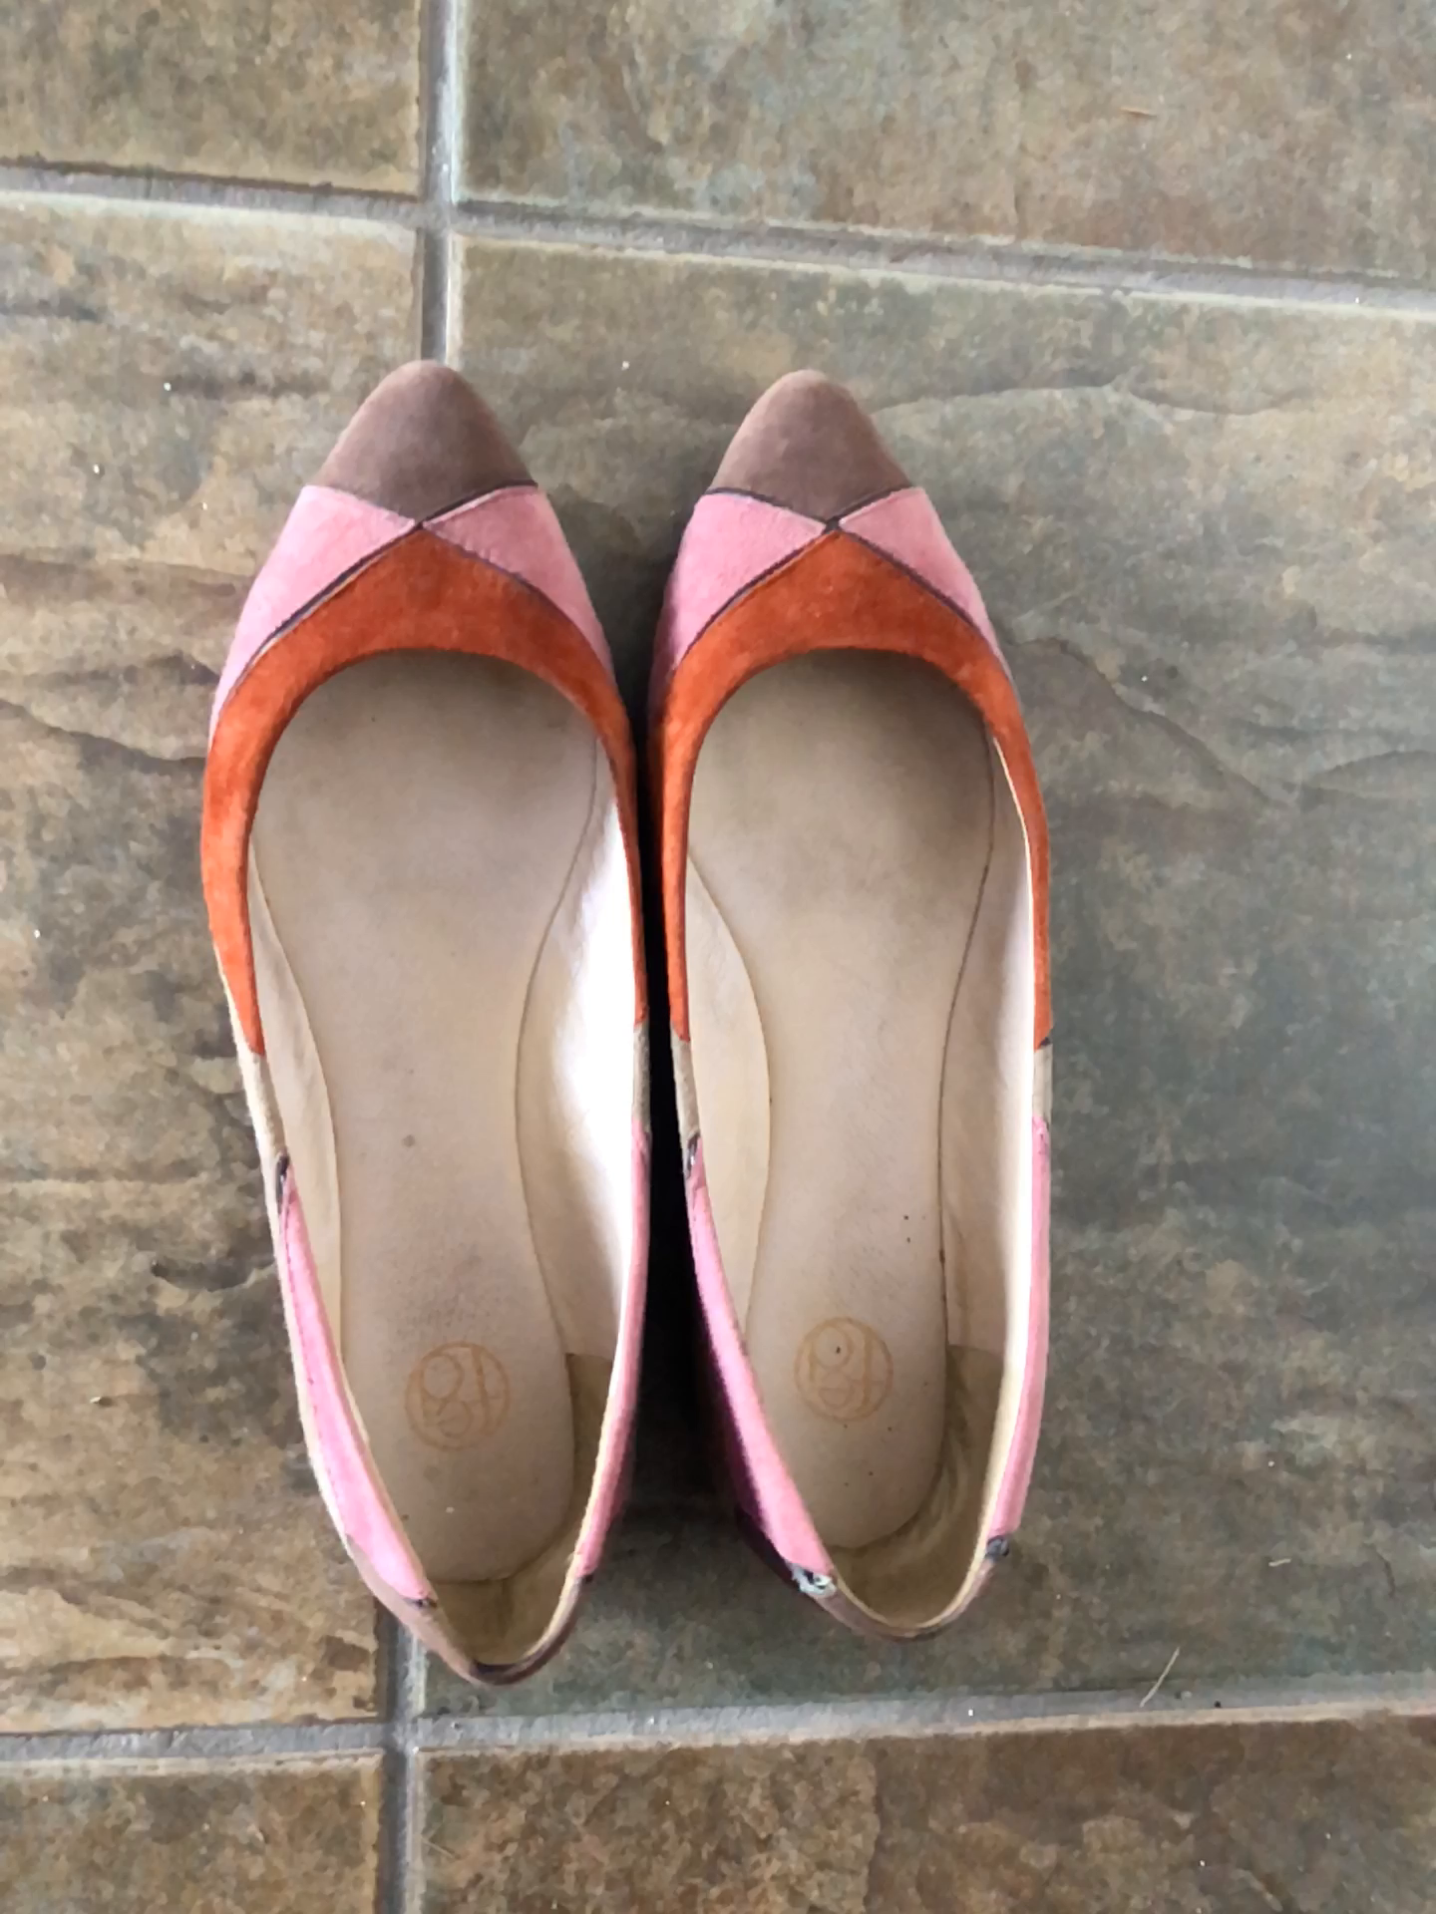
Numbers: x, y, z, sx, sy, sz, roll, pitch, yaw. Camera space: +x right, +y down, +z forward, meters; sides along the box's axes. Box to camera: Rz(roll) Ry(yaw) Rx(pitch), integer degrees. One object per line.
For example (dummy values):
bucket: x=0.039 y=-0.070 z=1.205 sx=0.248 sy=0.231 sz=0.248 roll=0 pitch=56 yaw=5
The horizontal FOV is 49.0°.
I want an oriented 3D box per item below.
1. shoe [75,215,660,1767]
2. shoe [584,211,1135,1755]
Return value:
shoe: x=-0.066 y=0.004 z=0.315 sx=0.090 sy=0.070 sz=0.270 roll=-3 pitch=90 yaw=-7
shoe: x=0.023 y=0.003 z=0.316 sx=0.090 sy=0.070 sz=0.270 roll=-1 pitch=90 yaw=-7
